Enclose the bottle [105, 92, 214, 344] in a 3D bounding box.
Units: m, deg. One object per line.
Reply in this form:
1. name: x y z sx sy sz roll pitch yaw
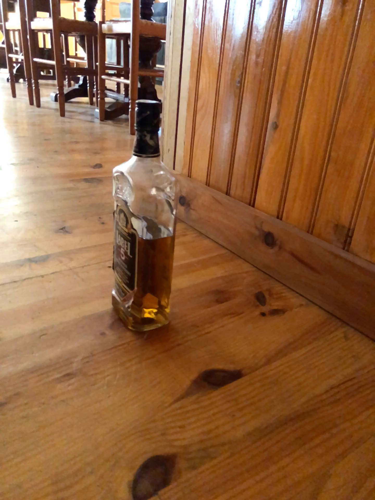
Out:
1. bottle: -0.047 -0.042 0.527 0.080 0.288 0.120 -9 28 -29
